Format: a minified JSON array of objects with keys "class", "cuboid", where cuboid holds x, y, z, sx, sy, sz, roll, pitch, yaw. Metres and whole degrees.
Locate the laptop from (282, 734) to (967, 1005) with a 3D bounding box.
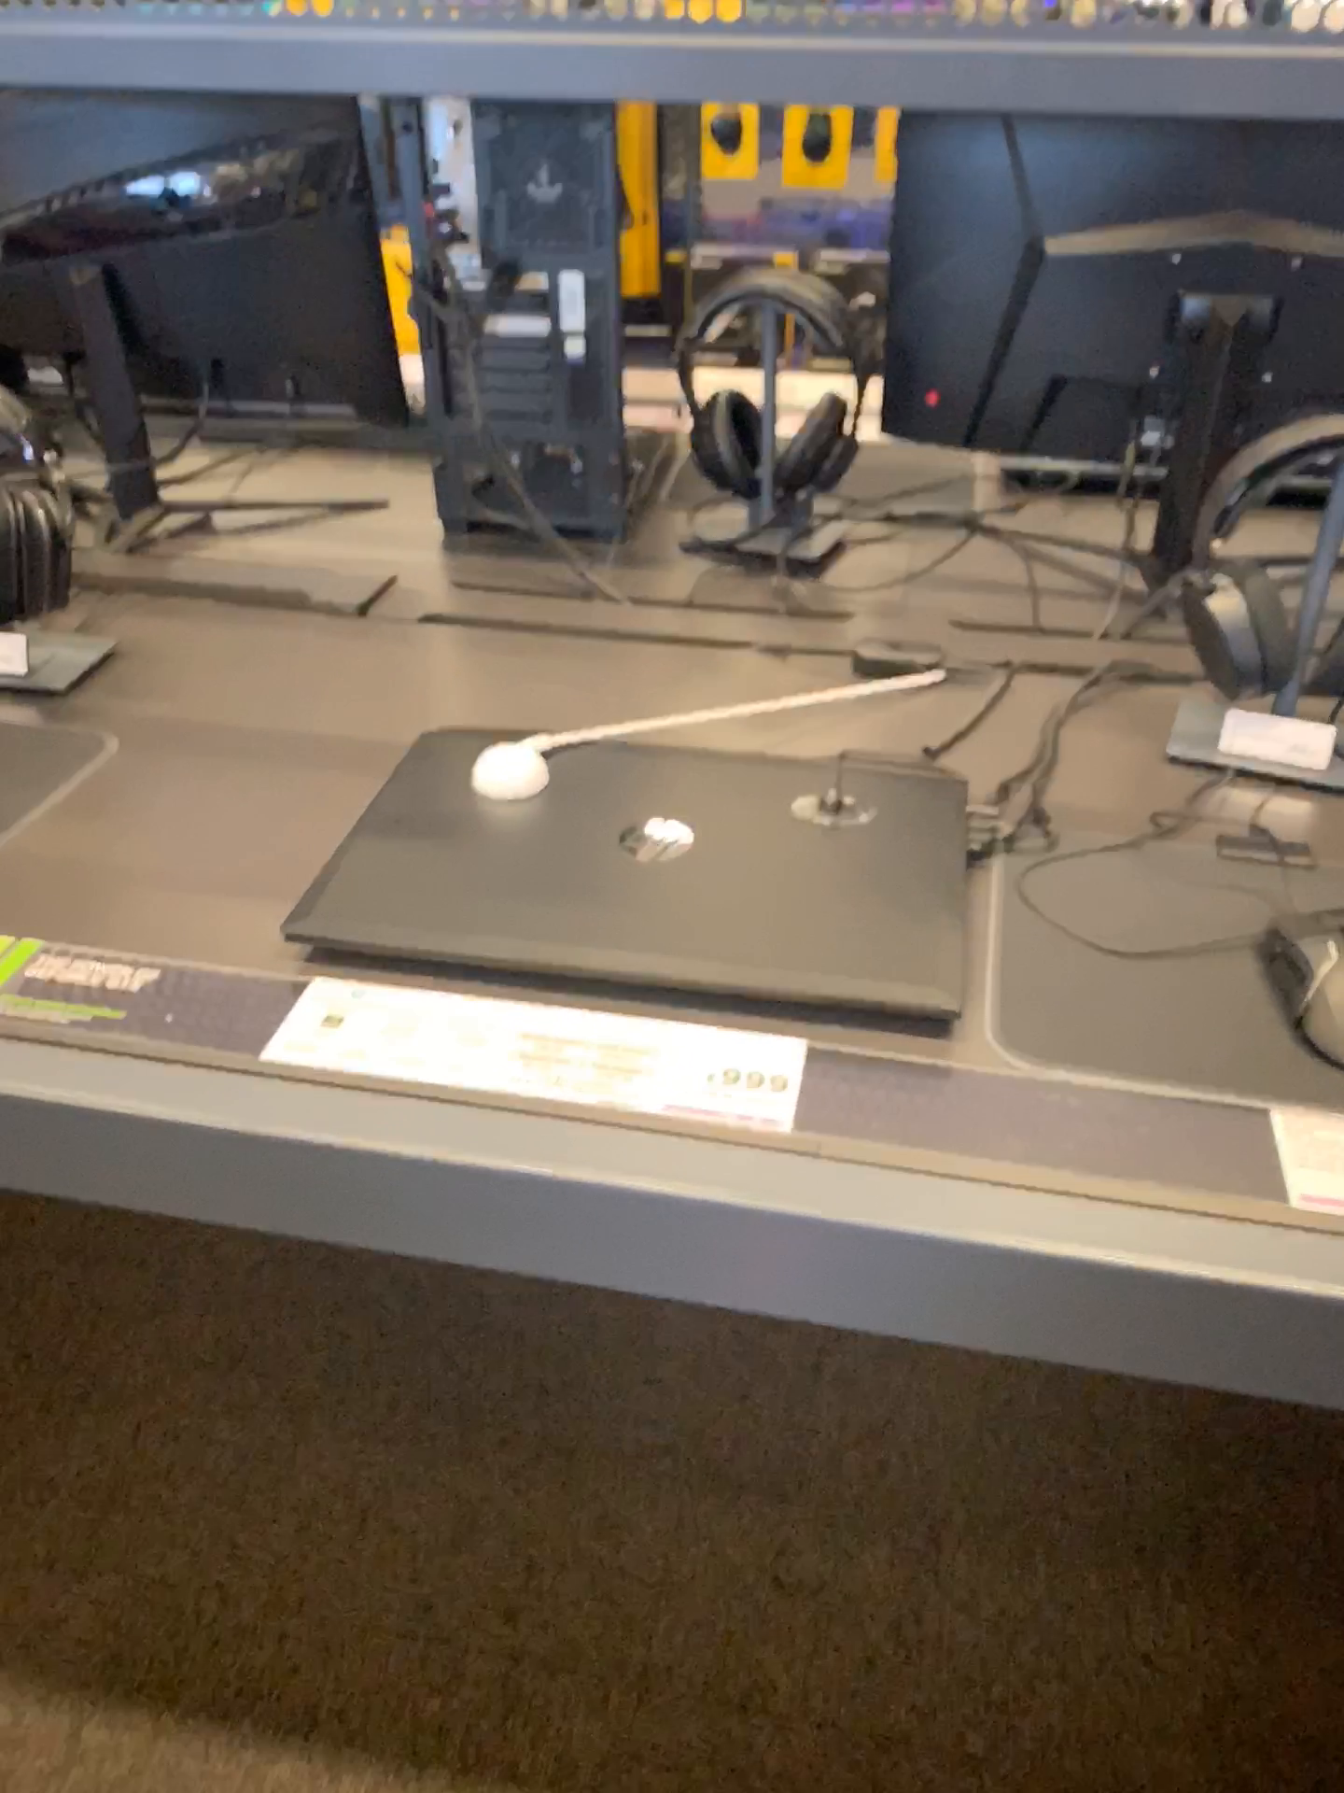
[{"class":"laptop","cuboid":[-0.012,-0.031,0.891,0.394,0.001,0.258,5,35,9]}]
